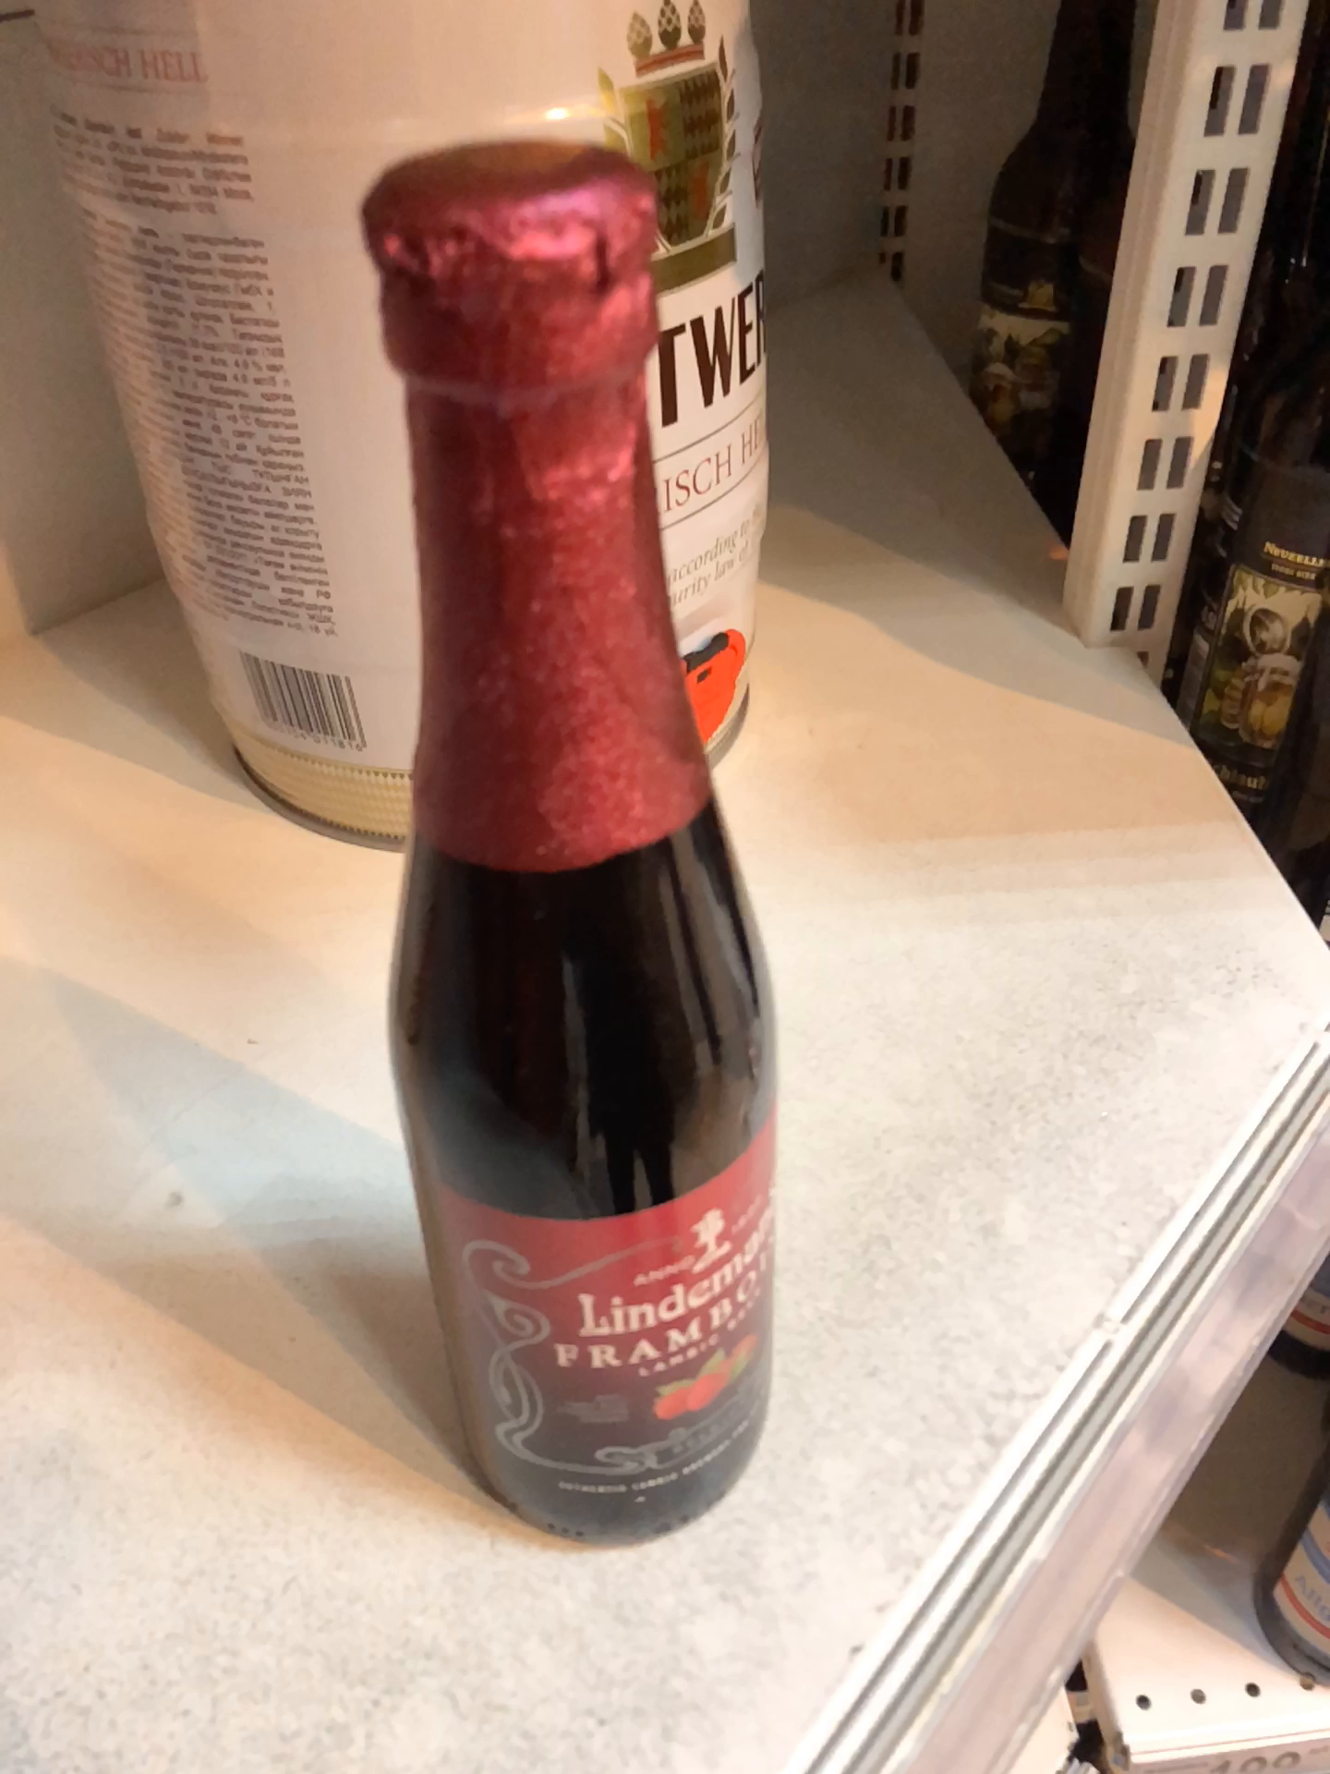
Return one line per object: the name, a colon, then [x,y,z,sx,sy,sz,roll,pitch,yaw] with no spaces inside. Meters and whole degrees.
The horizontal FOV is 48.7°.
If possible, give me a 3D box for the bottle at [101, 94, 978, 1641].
bottle: [-0.010,0.014,0.197,0.058,0.199,0.058,-1,39,1]
